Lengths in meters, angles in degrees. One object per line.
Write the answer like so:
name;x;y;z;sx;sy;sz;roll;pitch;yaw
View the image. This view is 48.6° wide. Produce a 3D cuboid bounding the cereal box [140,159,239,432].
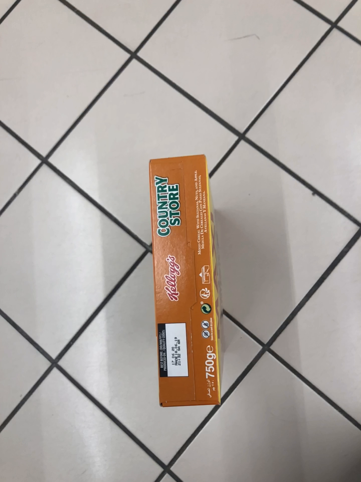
cereal box;0.017;0.051;0.420;0.060;0.240;0.200;-5;83;5
